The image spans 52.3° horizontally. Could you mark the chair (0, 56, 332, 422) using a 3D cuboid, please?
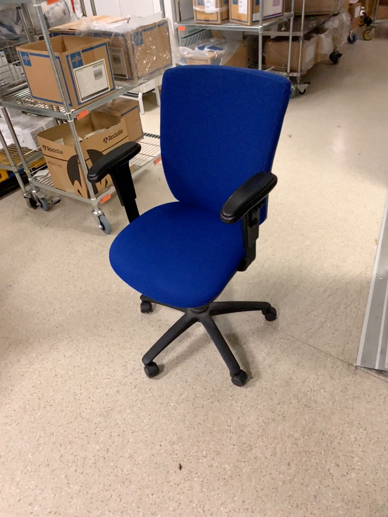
[{"bbox_3d":[-0.010,-0.117,1.445,0.672,0.931,0.765,18,45,27],"label":"chair"}]
